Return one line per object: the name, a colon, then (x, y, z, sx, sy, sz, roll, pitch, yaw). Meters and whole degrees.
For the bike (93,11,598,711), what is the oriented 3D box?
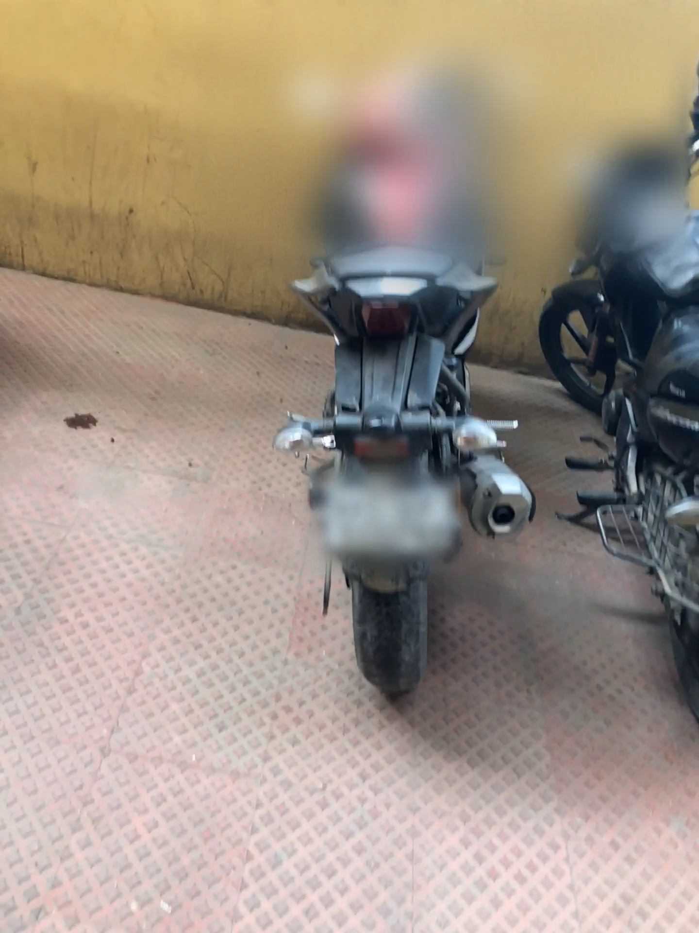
bike: (-0.120, -0.479, 2.009, 0.725, 0.870, 1.754, 7, 37, -7)
